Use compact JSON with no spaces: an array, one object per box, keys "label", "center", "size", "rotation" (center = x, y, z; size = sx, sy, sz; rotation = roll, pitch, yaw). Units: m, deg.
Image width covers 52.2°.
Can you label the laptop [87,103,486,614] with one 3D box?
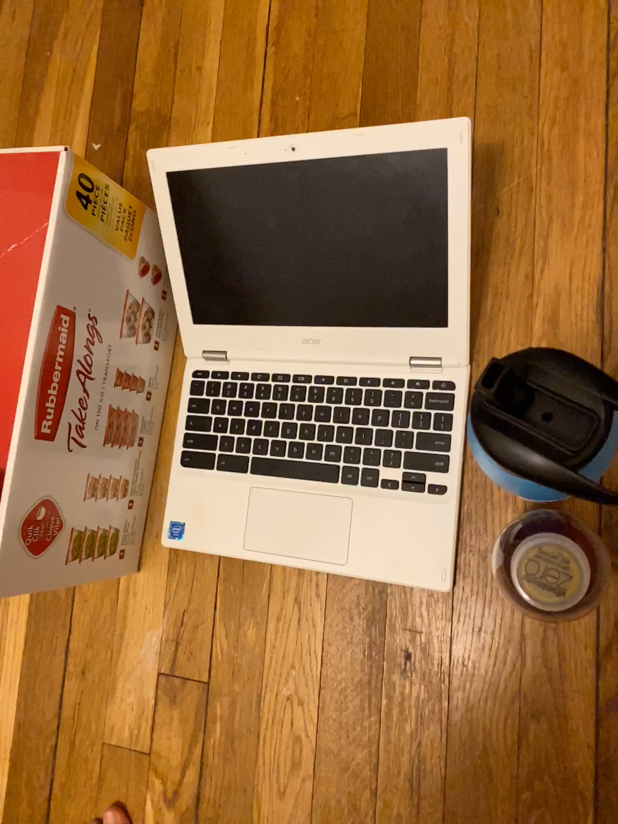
[{"label":"laptop","center":[-0.016,-0.044,0.548],"size":[0.289,0.109,0.364],"rotation":[4,84,23]}]
